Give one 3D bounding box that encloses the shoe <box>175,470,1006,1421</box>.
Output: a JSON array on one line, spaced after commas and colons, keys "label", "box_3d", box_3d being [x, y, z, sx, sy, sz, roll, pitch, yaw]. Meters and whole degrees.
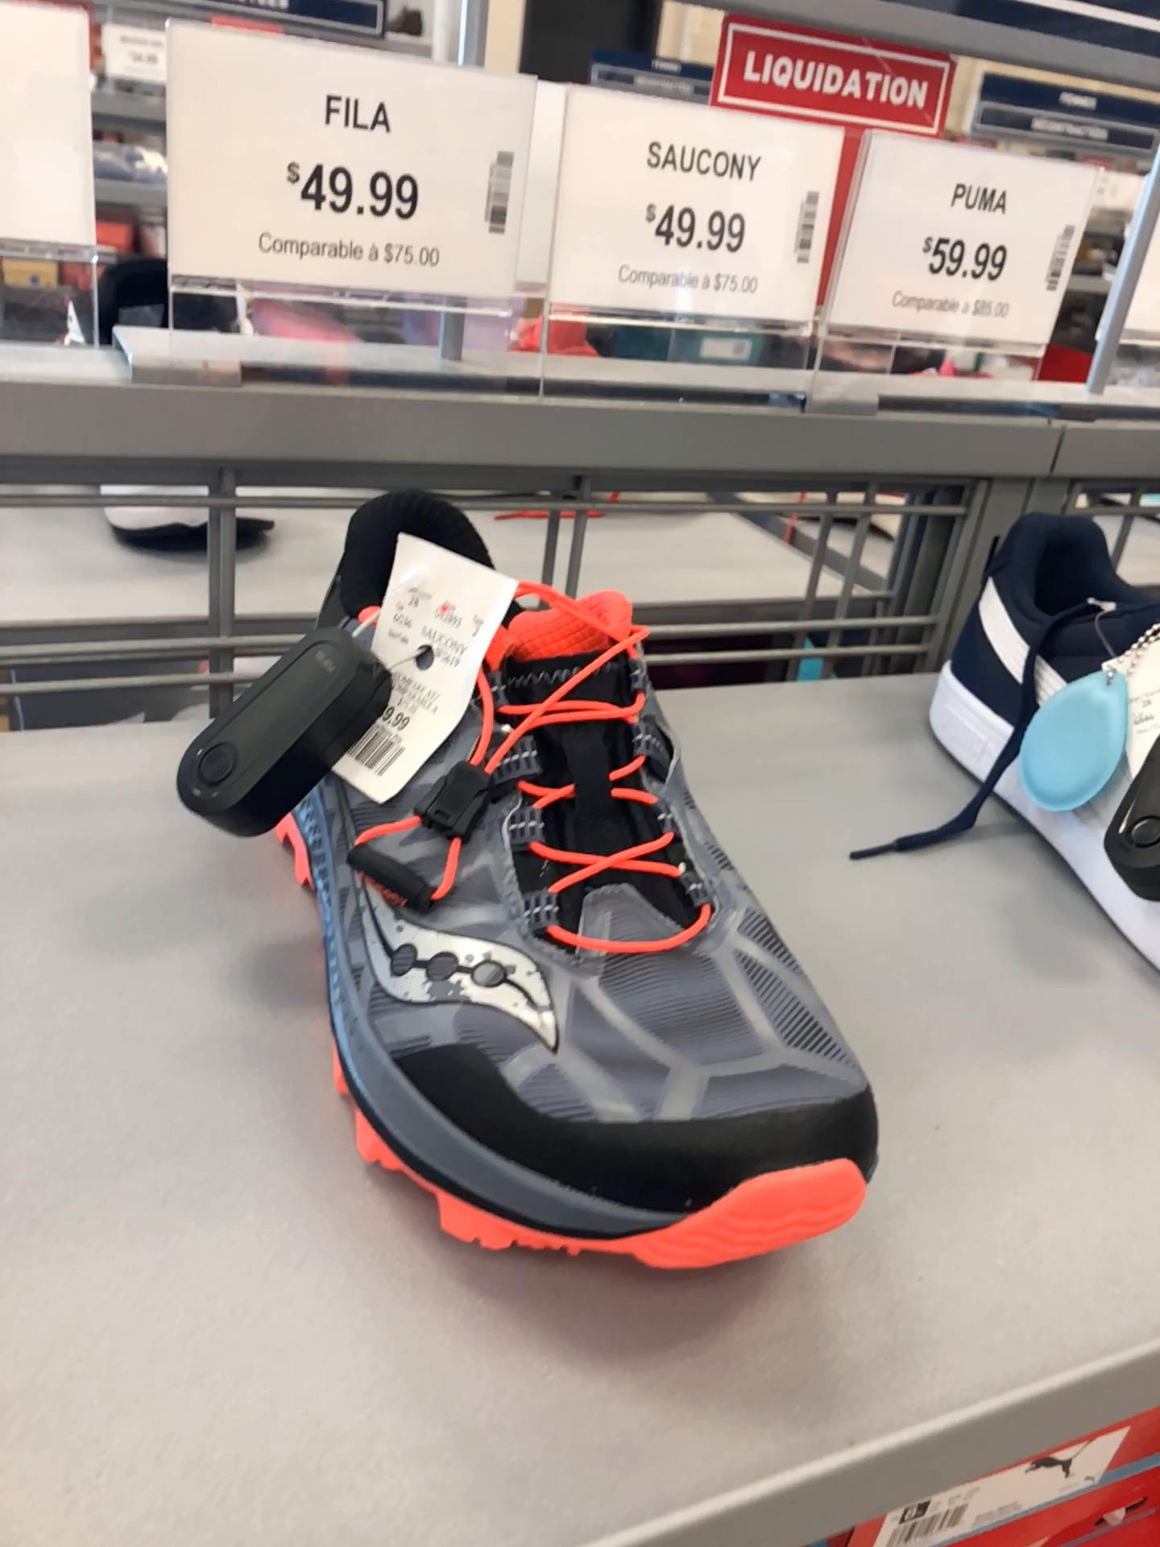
[{"label": "shoe", "box_3d": [-0.033, 0.008, 0.369, 0.110, 0.109, 0.292, -6, 30, -26]}]
